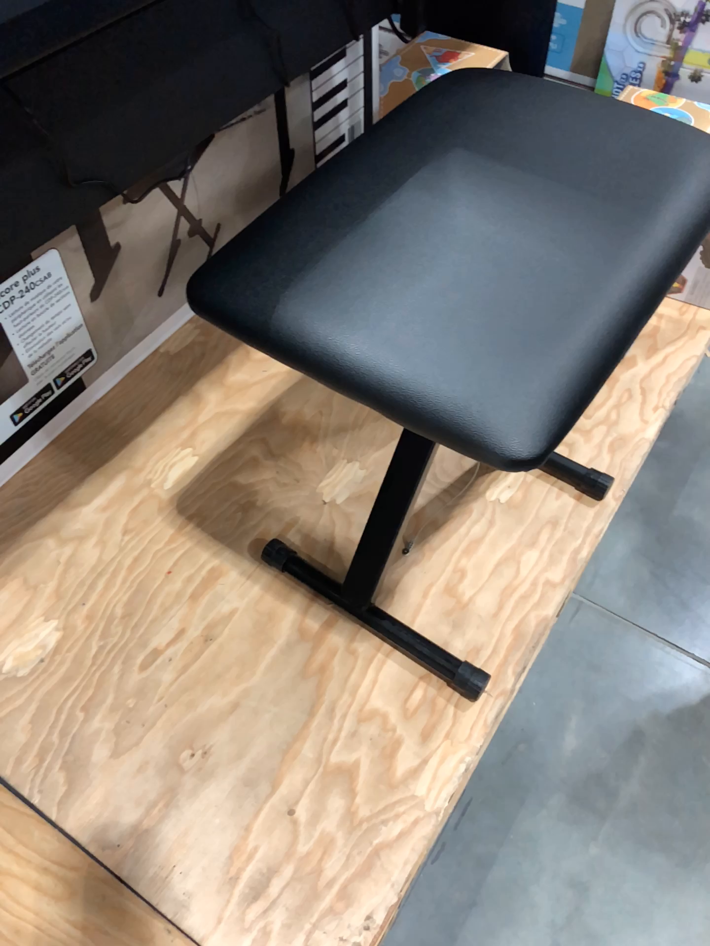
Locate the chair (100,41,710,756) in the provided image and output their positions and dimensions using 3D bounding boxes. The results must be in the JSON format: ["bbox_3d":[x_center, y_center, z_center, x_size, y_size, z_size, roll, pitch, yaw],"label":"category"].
[{"bbox_3d":[0.122,-0.108,0.712,0.370,0.279,0.511,28,57,21],"label":"chair"}]
